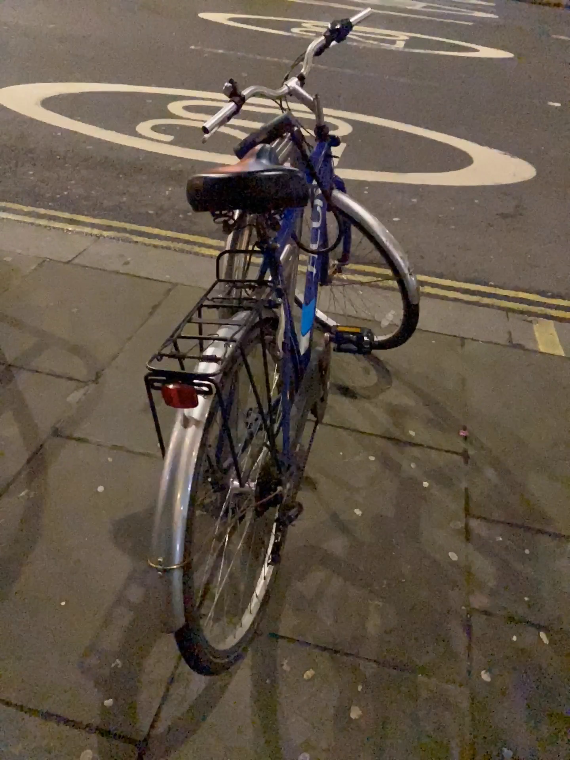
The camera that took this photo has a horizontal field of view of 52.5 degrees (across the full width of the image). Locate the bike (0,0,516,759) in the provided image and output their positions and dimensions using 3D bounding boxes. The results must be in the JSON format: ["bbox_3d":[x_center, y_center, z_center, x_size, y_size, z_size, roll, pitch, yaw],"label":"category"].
[{"bbox_3d":[-0.126,-0.267,1.417,0.655,1.108,1.604,5,41,1],"label":"bike"}]
